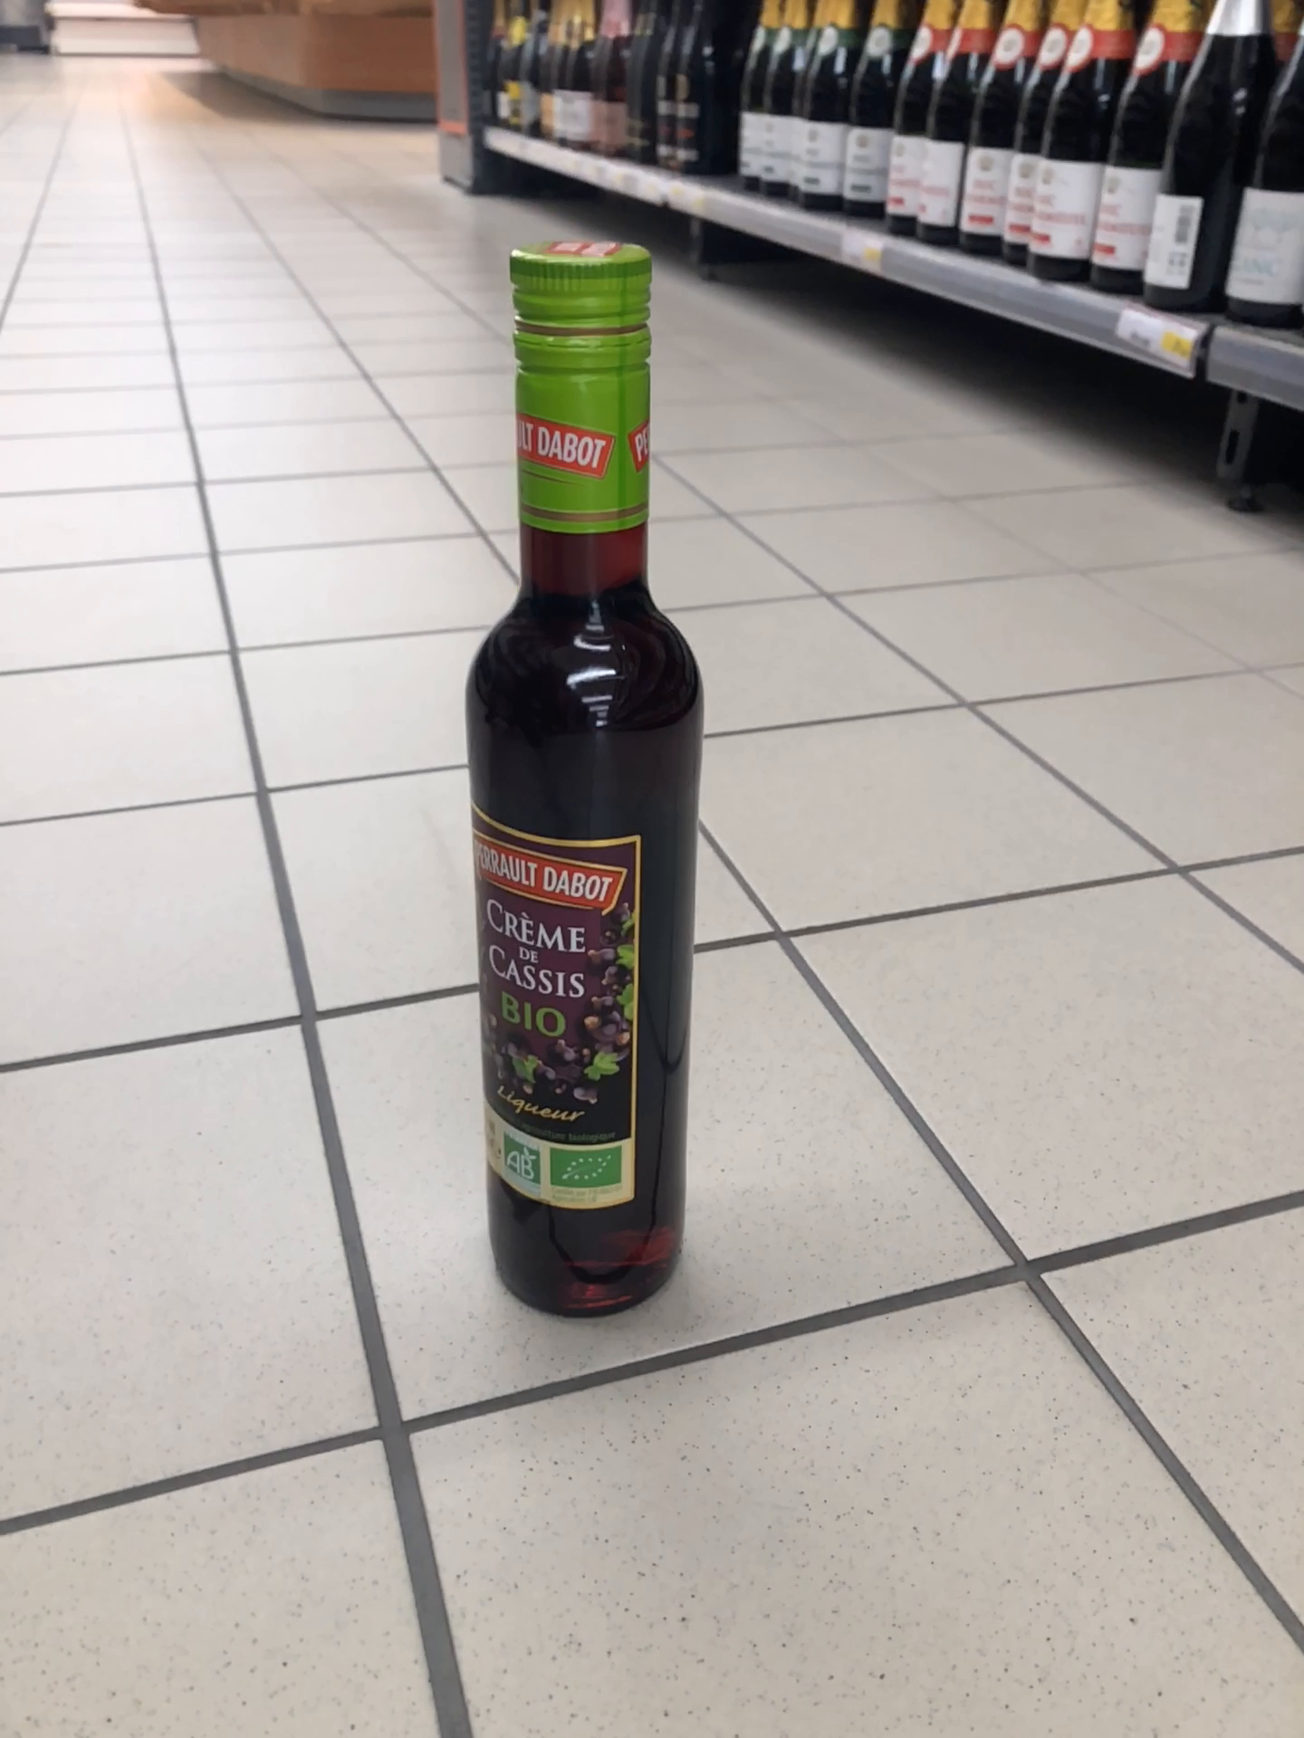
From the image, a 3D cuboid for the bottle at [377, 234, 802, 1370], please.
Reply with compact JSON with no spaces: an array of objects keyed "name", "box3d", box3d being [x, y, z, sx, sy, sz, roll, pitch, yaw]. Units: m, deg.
[{"name":"bottle","box3d":[-0.013,-0.007,0.382,0.070,0.288,0.070,1,28,0]}]
